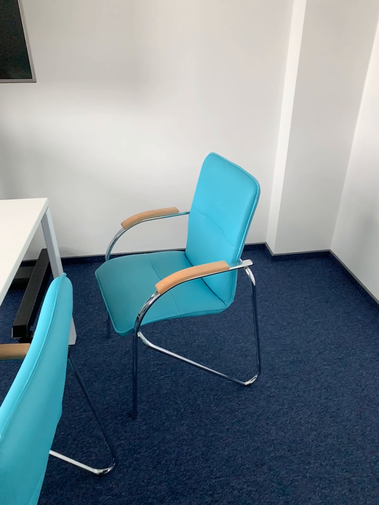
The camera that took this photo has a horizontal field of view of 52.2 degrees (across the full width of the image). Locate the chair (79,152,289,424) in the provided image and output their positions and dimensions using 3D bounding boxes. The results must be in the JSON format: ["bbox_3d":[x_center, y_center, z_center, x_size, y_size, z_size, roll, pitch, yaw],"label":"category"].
[{"bbox_3d":[-0.062,0.104,1.647,0.601,0.845,0.623,-11,32,-18],"label":"chair"}]
